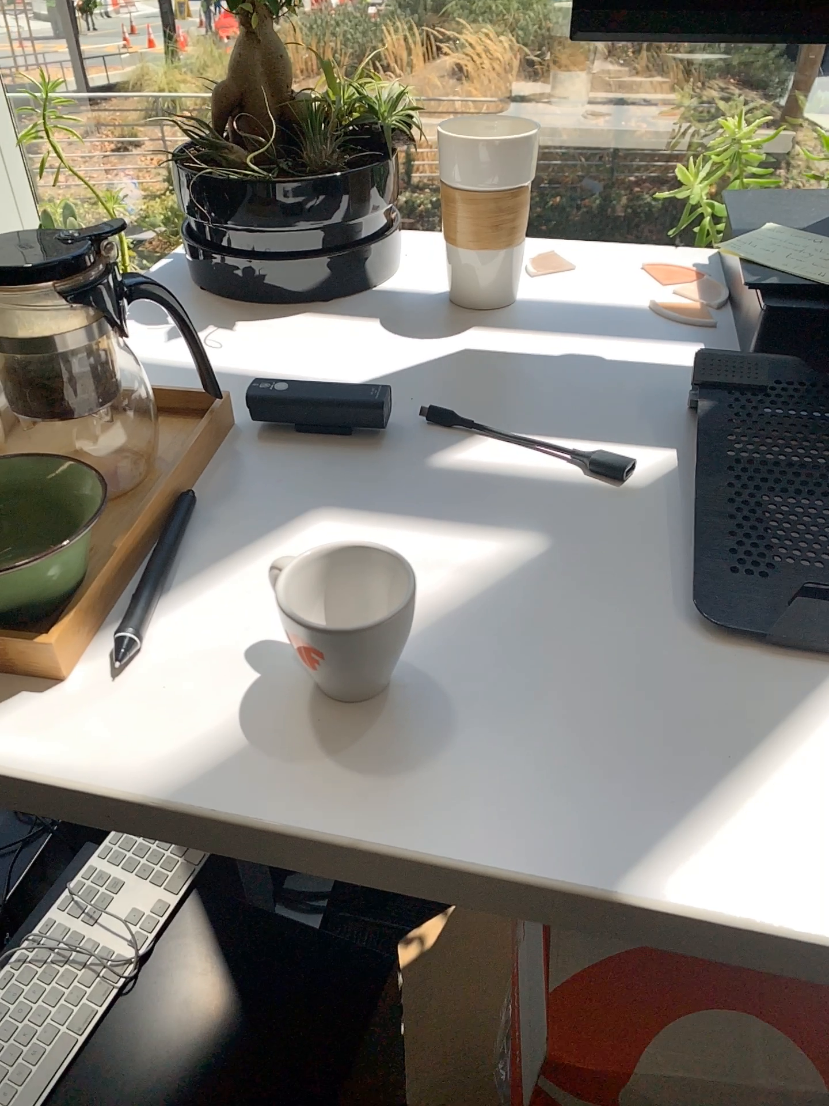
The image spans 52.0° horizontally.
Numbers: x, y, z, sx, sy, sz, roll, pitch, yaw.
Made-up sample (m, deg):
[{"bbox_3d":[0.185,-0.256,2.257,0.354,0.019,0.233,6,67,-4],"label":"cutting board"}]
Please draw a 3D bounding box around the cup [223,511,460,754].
[{"bbox_3d":[-0.033,0.034,0.403,0.090,0.060,0.060,25,45,30],"label":"cup"}]
